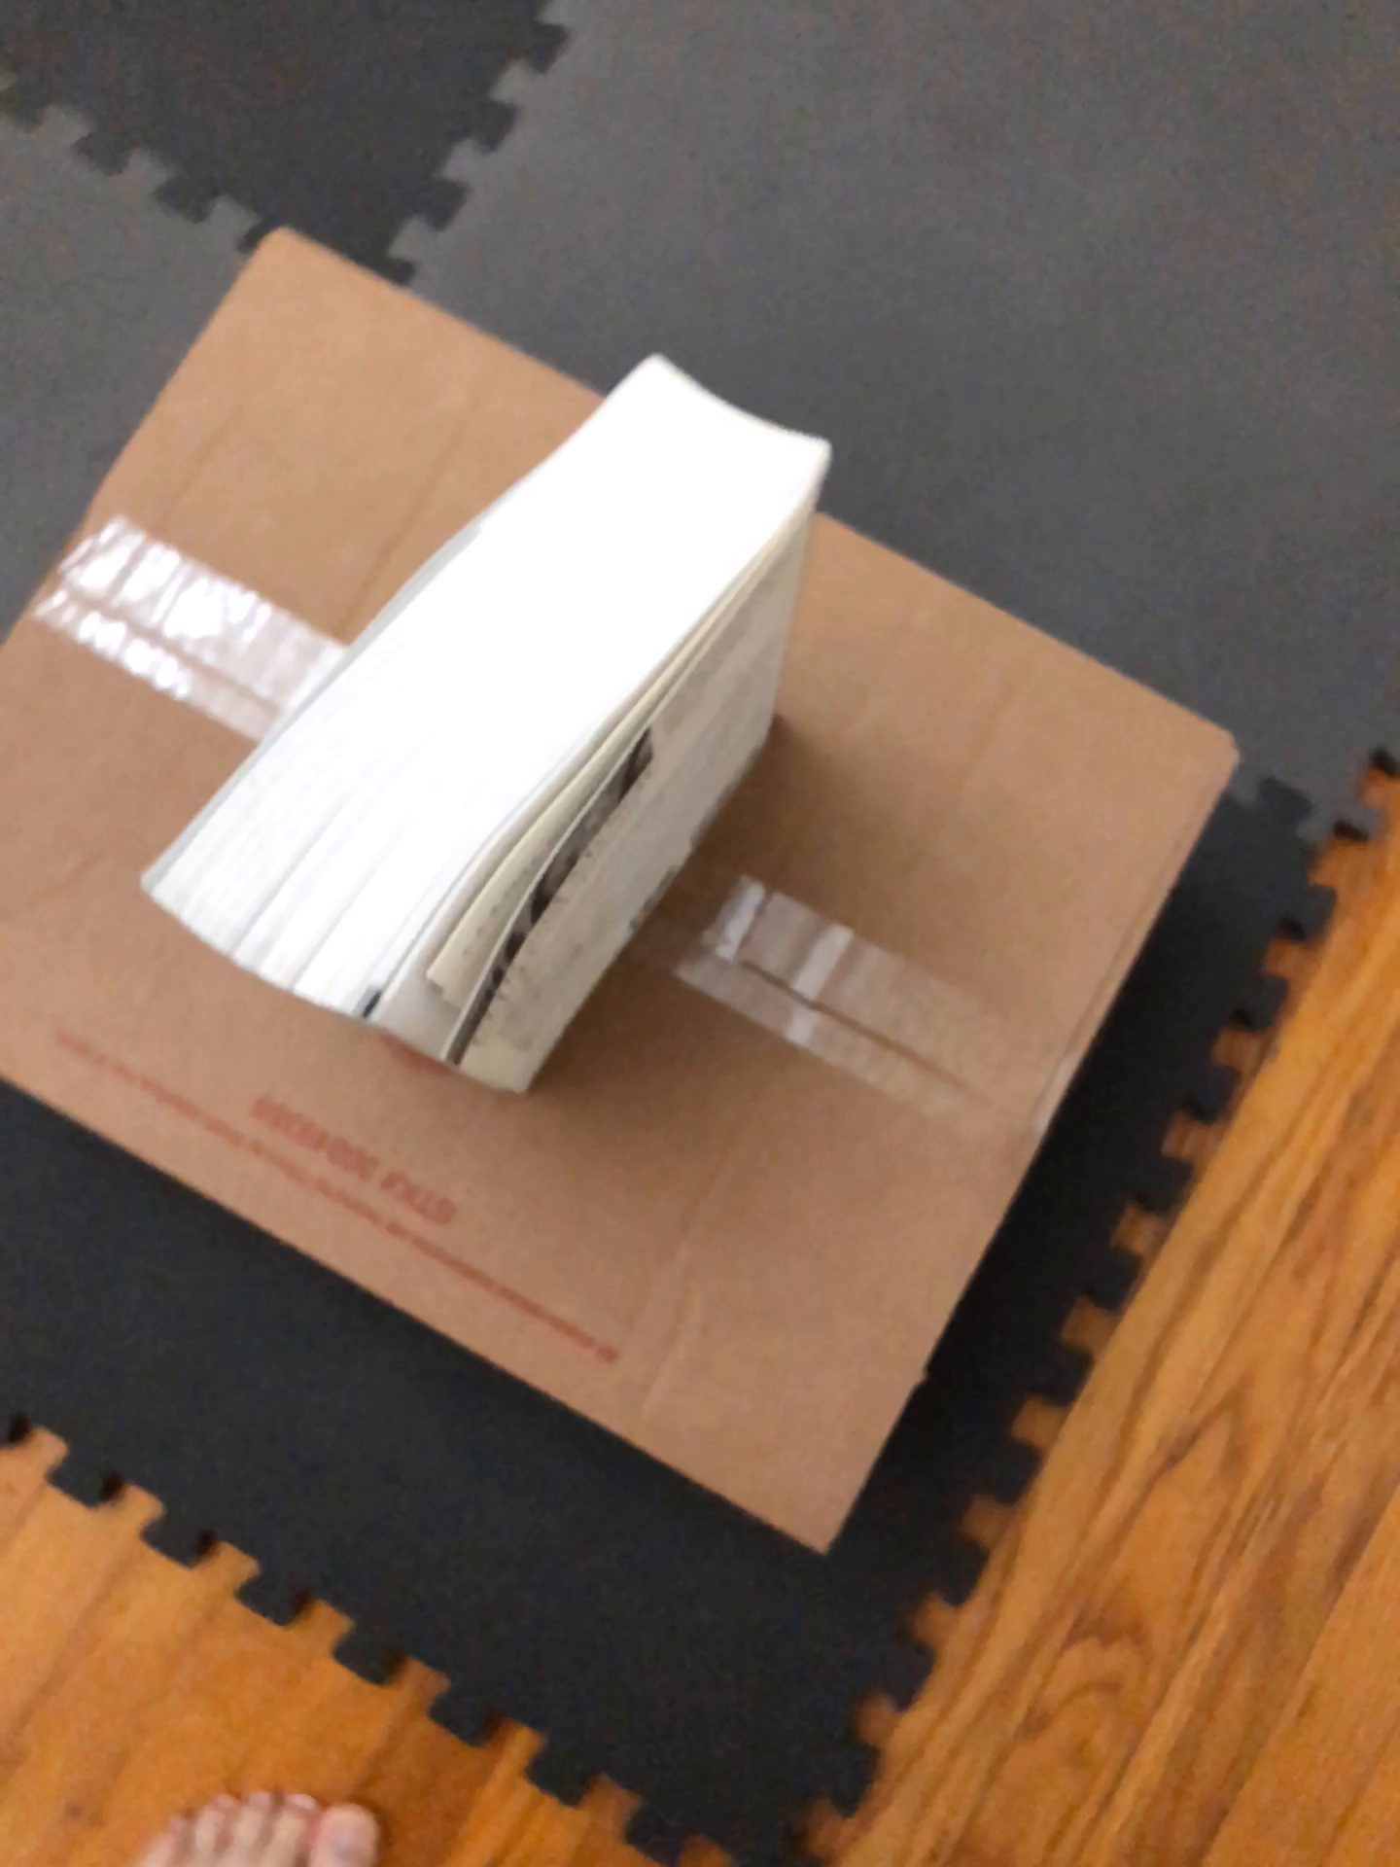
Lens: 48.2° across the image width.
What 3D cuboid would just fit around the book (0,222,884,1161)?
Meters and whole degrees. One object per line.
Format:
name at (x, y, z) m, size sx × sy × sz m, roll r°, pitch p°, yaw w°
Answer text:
book at (-0.059, -0.039, 0.470) m, size 0.090 × 0.260 × 0.200 m, roll 43°, pitch 83°, yaw 7°
